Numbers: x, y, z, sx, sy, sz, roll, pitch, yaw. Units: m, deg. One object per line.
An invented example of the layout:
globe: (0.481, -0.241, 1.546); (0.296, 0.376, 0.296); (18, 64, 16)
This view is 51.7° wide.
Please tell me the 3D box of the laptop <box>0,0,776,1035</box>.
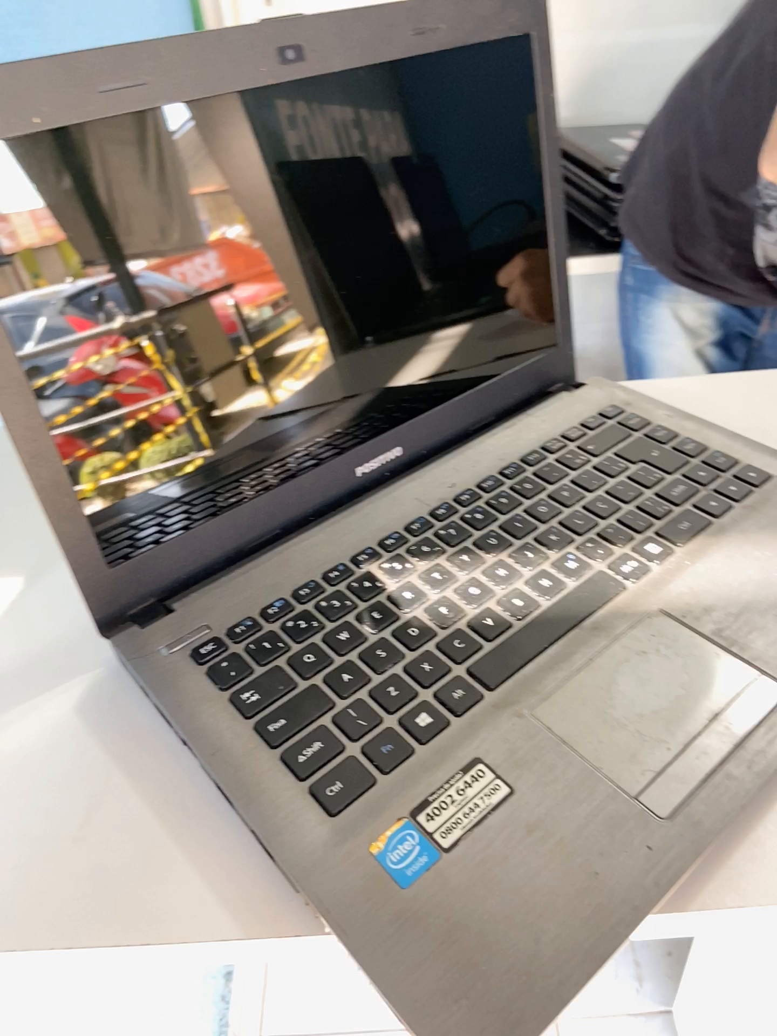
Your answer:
laptop: (0.050, -0.068, 0.320); (0.335, 0.211, 0.283); (-29, 43, -29)
